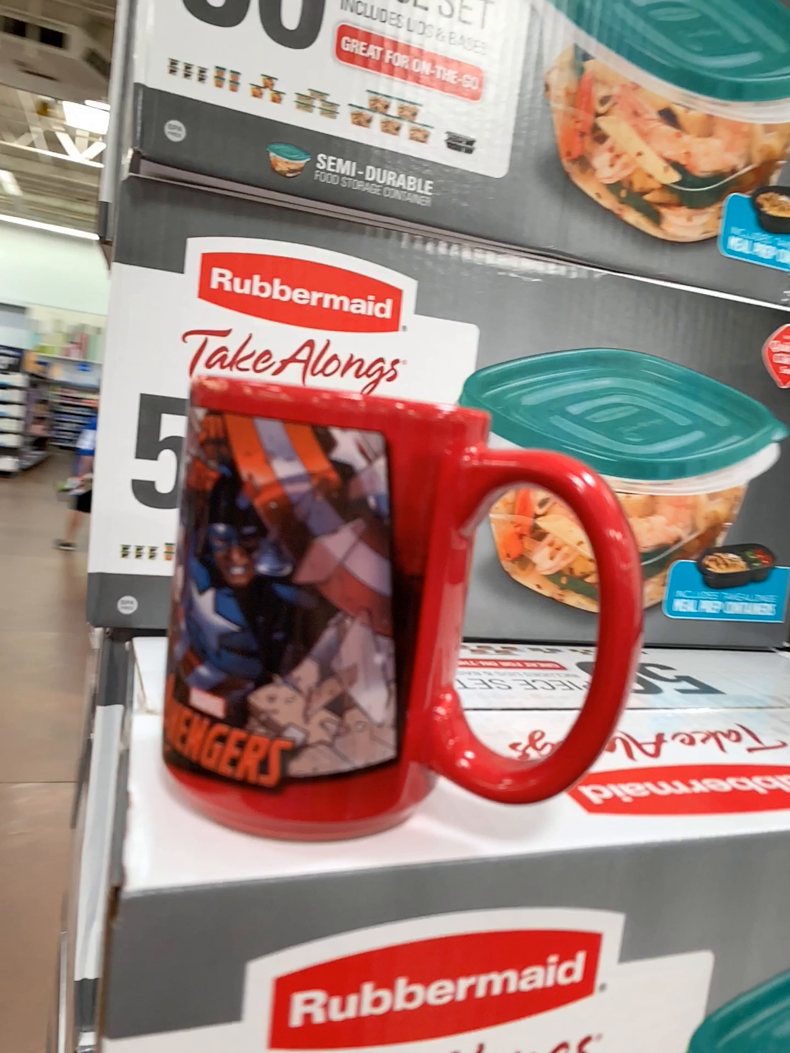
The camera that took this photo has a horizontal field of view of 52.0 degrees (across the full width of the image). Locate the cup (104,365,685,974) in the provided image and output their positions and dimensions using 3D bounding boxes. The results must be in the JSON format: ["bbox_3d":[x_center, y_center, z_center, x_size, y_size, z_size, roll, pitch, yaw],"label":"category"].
[{"bbox_3d":[0.001,0.019,0.228,0.119,0.114,0.100,11,12,31],"label":"cup"}]
